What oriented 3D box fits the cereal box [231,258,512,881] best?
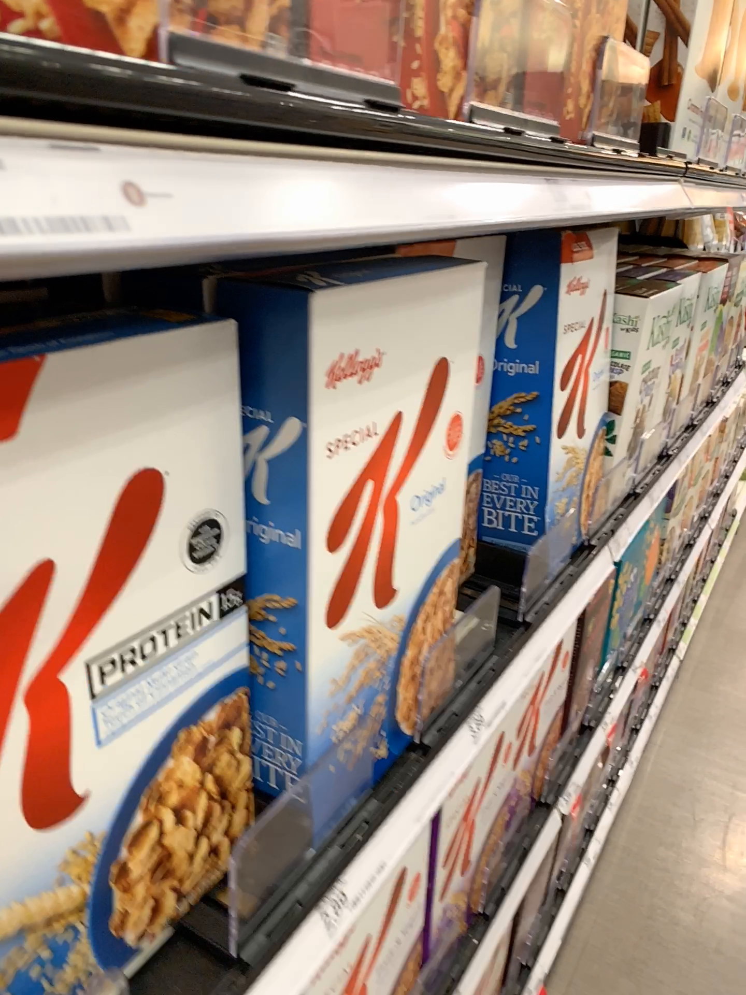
[{"bbox_3d":[0.006,0.030,0.460,0.060,0.319,0.191,13,24,27],"label":"cereal box"}]
